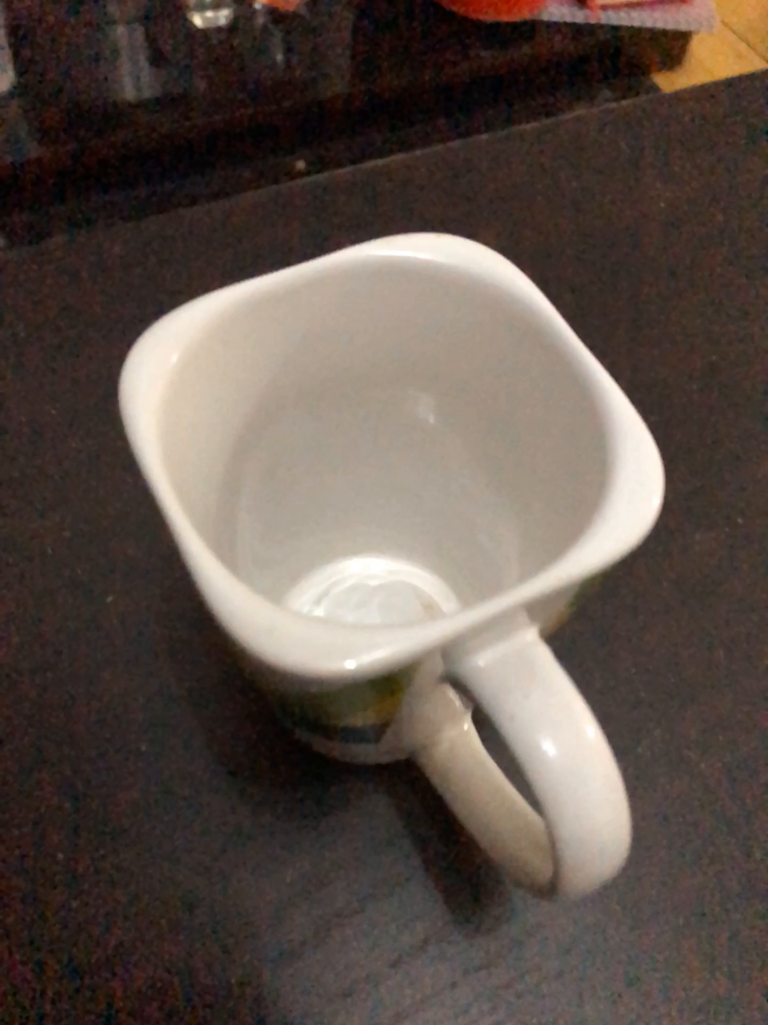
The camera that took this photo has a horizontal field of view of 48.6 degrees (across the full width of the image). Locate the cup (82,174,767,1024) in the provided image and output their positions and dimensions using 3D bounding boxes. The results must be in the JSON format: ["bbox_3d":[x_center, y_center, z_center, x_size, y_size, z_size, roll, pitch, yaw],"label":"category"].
[{"bbox_3d":[0.011,0.017,0.162,0.080,0.090,0.110,-24,62,-17],"label":"cup"}]
